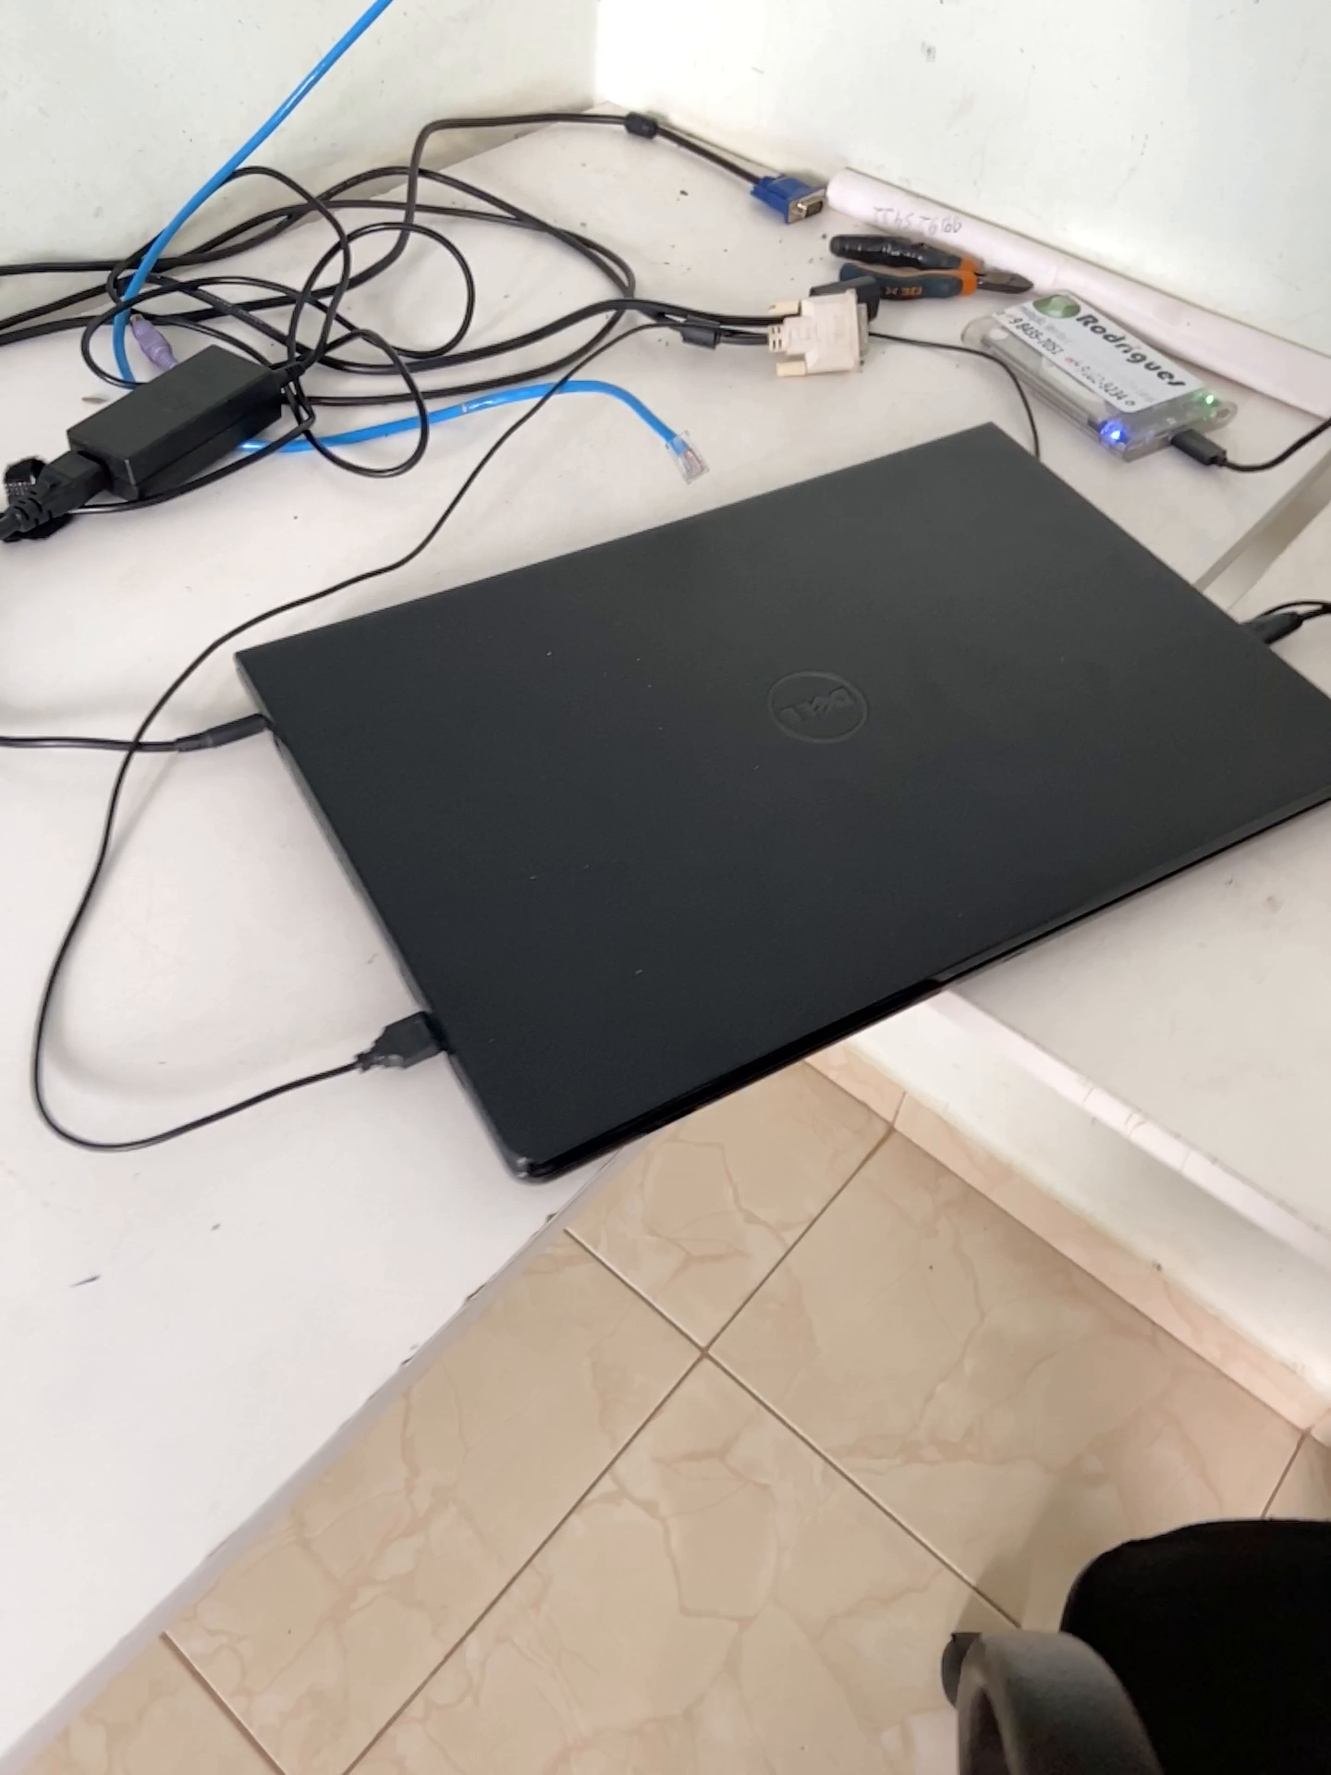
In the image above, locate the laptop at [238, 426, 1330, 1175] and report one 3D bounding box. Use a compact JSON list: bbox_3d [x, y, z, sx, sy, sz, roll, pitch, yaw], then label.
[{"bbox_3d":[0.056,-0.073,0.538,0.376,0.003,0.260,-22,54,-21],"label":"laptop"}]
